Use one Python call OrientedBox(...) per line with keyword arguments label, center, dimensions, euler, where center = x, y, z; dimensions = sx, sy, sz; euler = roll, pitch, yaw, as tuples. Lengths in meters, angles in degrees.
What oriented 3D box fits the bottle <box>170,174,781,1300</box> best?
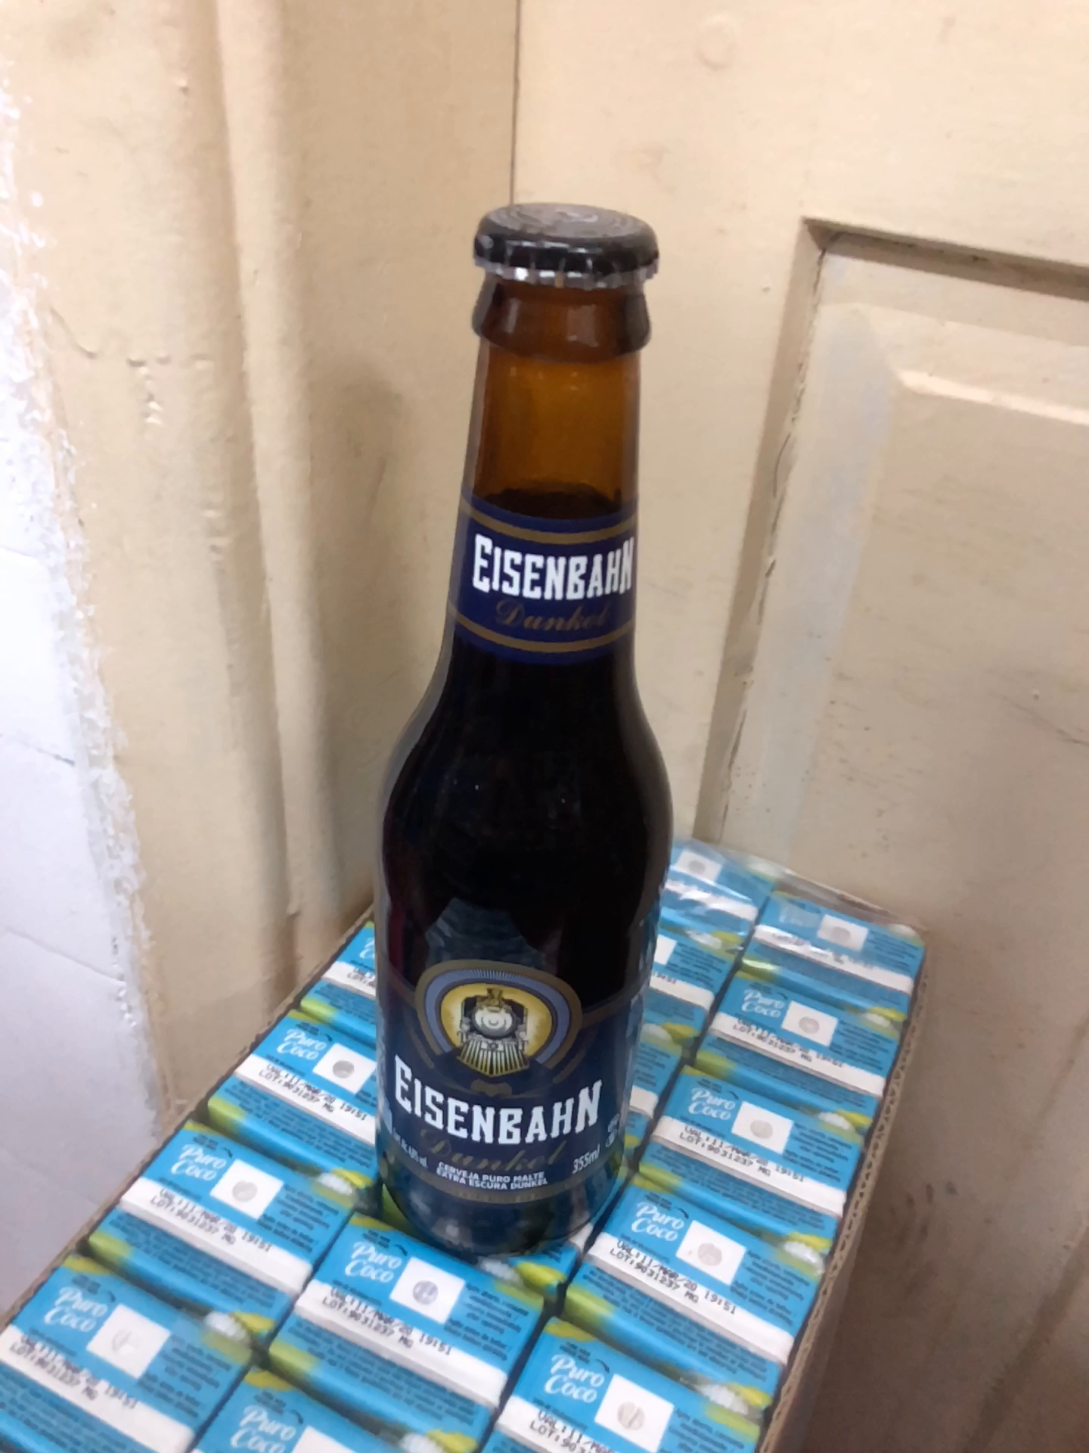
OrientedBox(label="bottle", center=(-0.010, 0.016, 0.219), dimensions=(0.070, 0.198, 0.060), euler=(7, 36, 5))
